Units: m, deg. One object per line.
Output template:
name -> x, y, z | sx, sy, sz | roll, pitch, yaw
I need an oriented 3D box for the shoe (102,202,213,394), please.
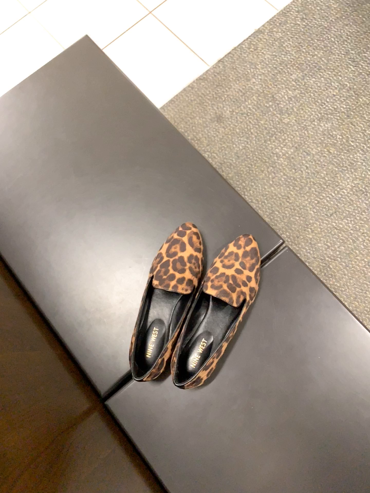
shoe -> -0.031, 0.072, 0.561 | 0.090, 0.090, 0.247 | 13, 77, 8

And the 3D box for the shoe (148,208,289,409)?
shoe -> 0.050, 0.084, 0.542 | 0.090, 0.090, 0.247 | 24, 79, 10
